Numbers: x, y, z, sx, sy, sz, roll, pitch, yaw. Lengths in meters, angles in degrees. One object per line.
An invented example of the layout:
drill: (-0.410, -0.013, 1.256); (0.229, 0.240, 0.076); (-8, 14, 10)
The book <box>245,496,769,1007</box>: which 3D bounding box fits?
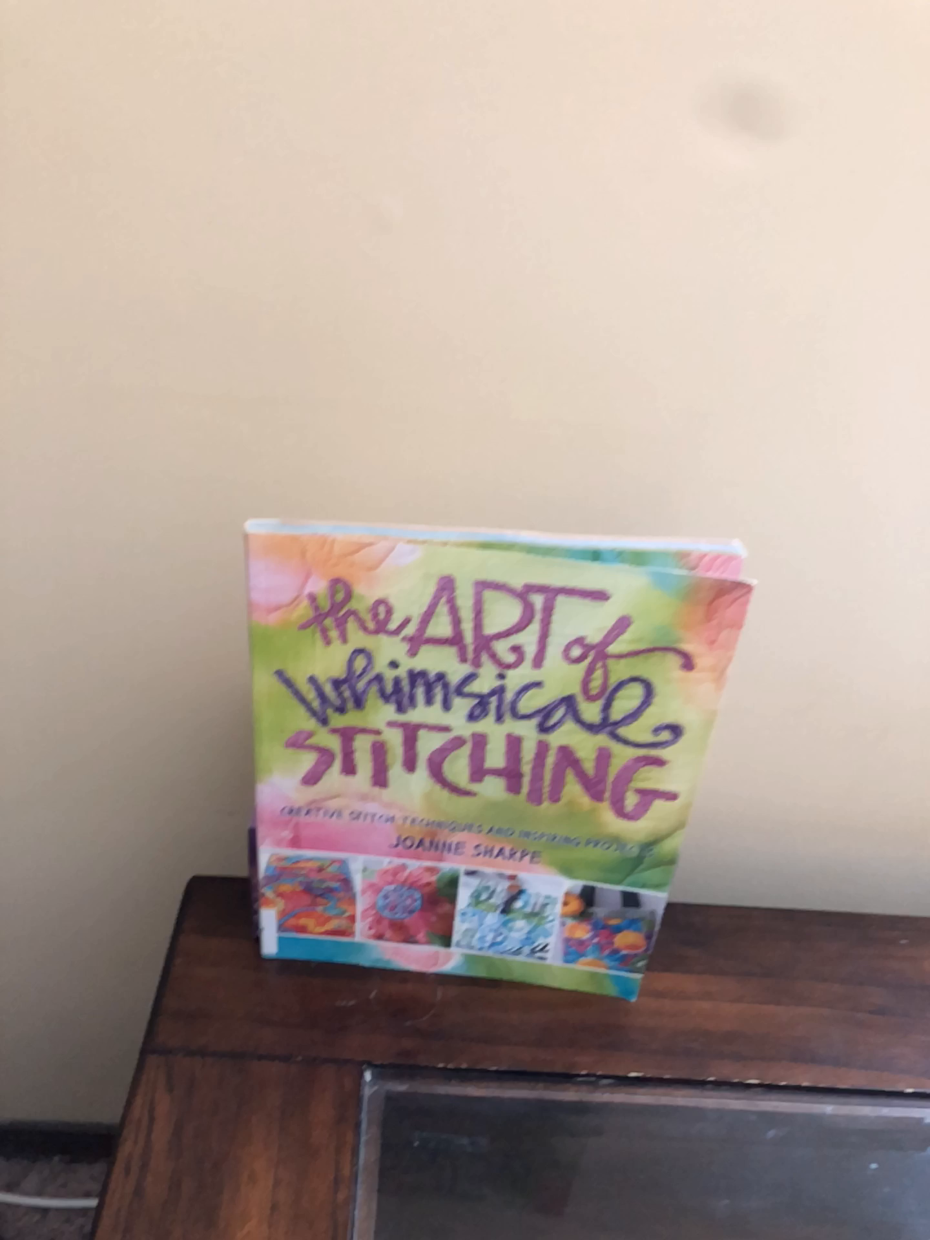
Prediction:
book: (0.006, 0.077, 0.498); (0.214, 0.263, 0.029); (6, 31, 1)
